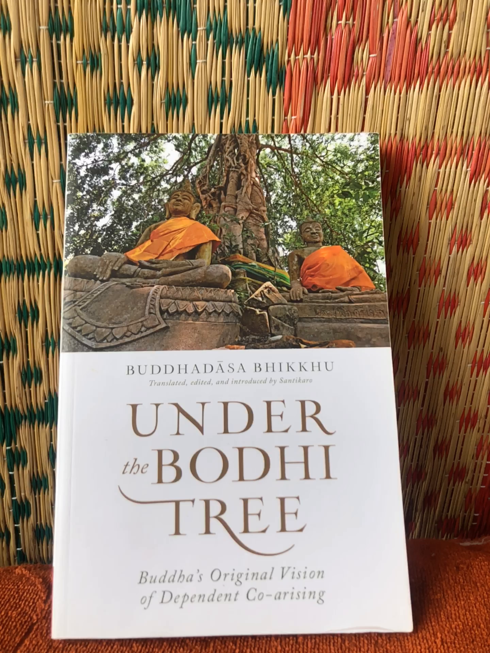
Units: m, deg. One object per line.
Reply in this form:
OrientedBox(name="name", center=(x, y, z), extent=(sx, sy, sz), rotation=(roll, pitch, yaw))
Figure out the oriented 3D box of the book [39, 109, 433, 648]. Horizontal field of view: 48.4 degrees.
OrientedBox(name="book", center=(-0.006, 0.015, 0.252), extent=(0.160, 0.230, 0.030), rotation=(-1, -8, -2))
